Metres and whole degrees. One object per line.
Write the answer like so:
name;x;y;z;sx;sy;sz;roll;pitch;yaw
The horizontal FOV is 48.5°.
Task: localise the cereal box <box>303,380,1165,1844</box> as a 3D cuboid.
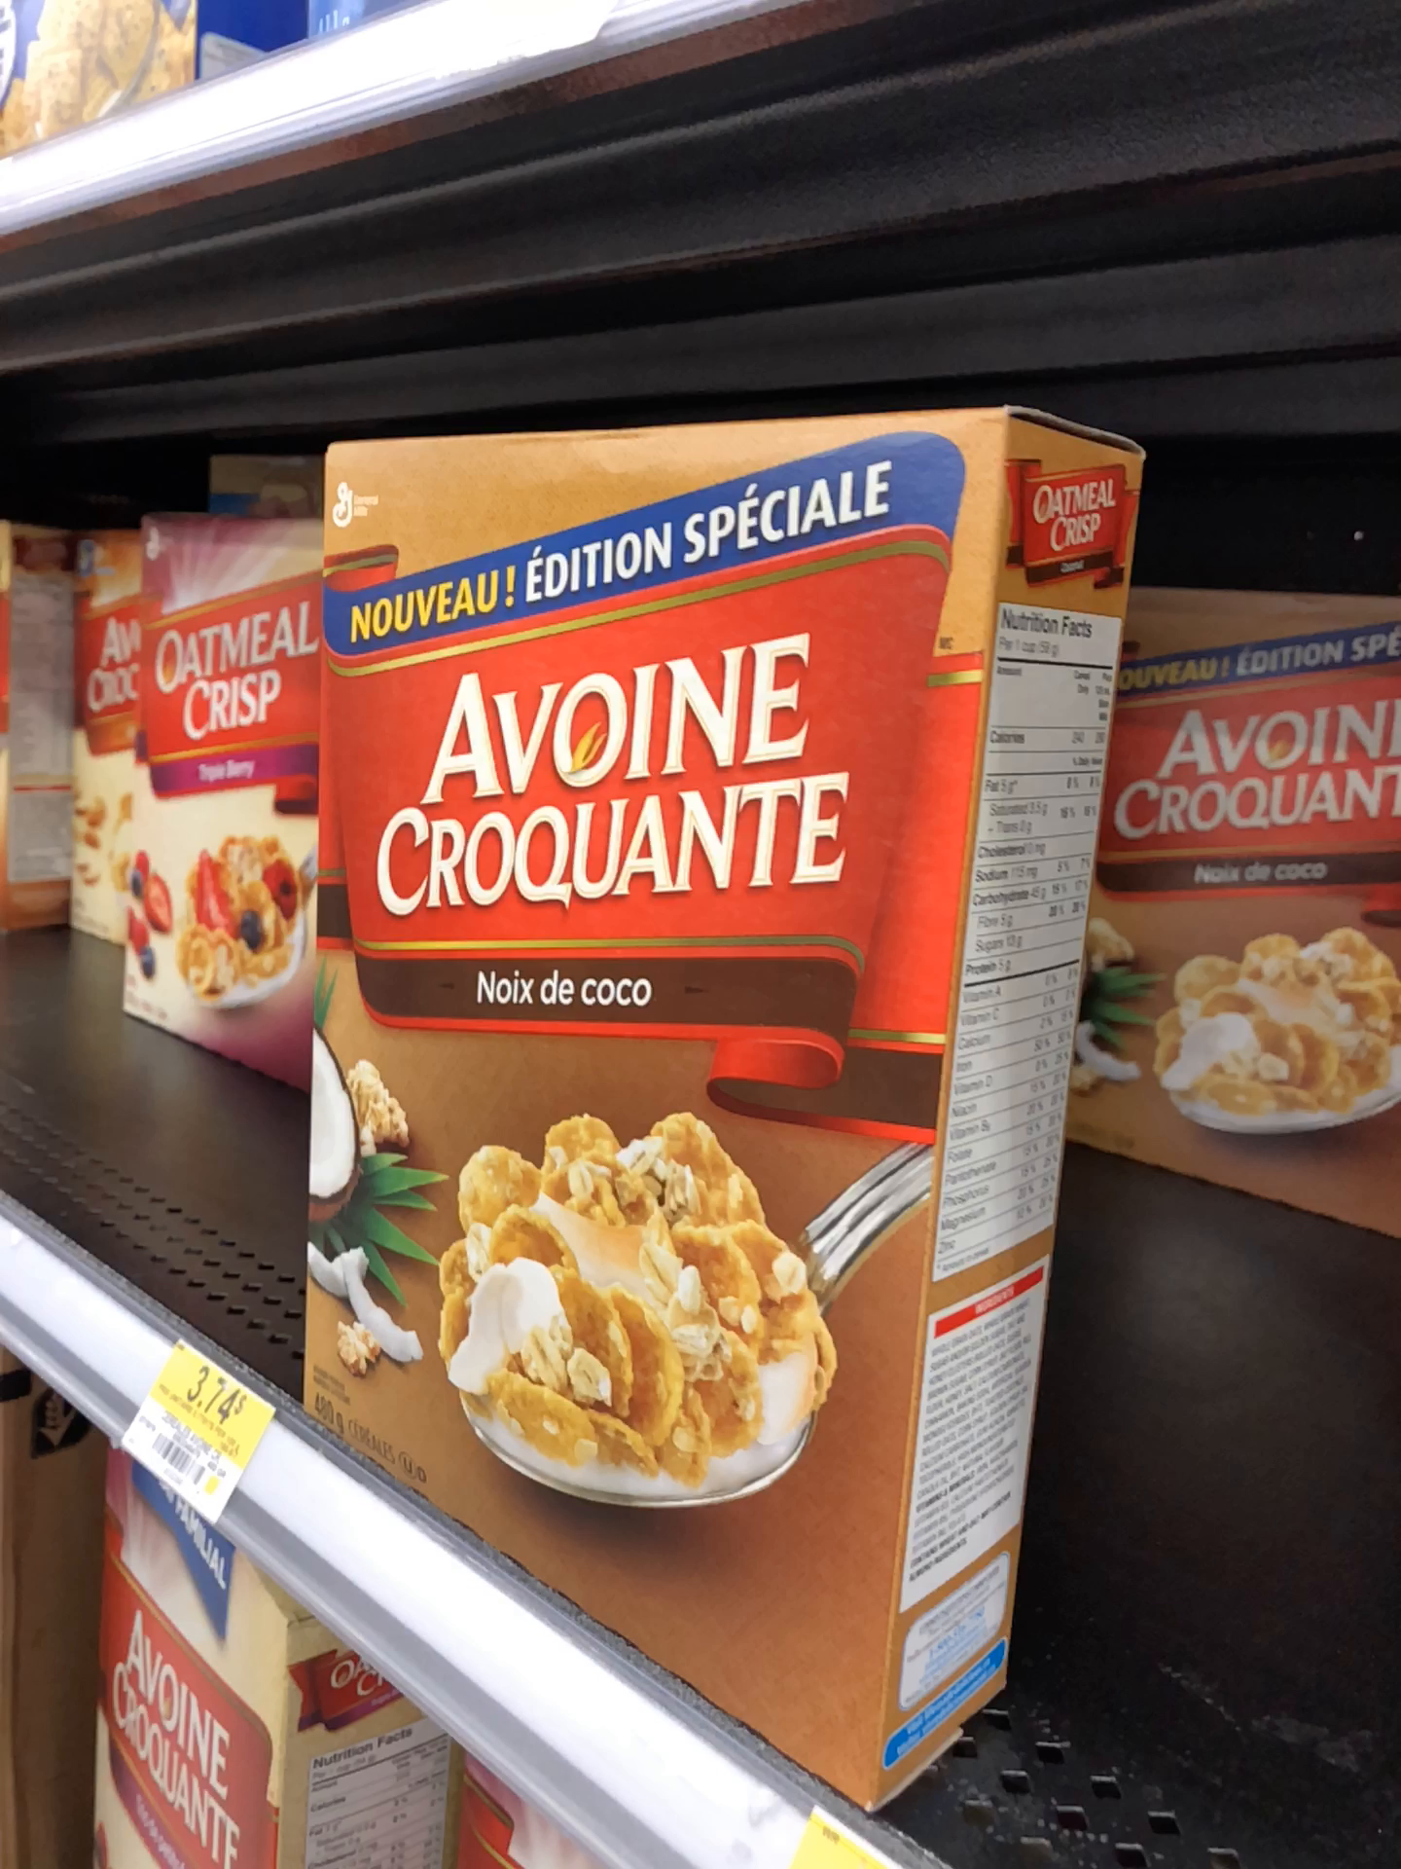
cereal box;-0.012;0.022;0.361;0.200;0.269;0.050;14;14;43
